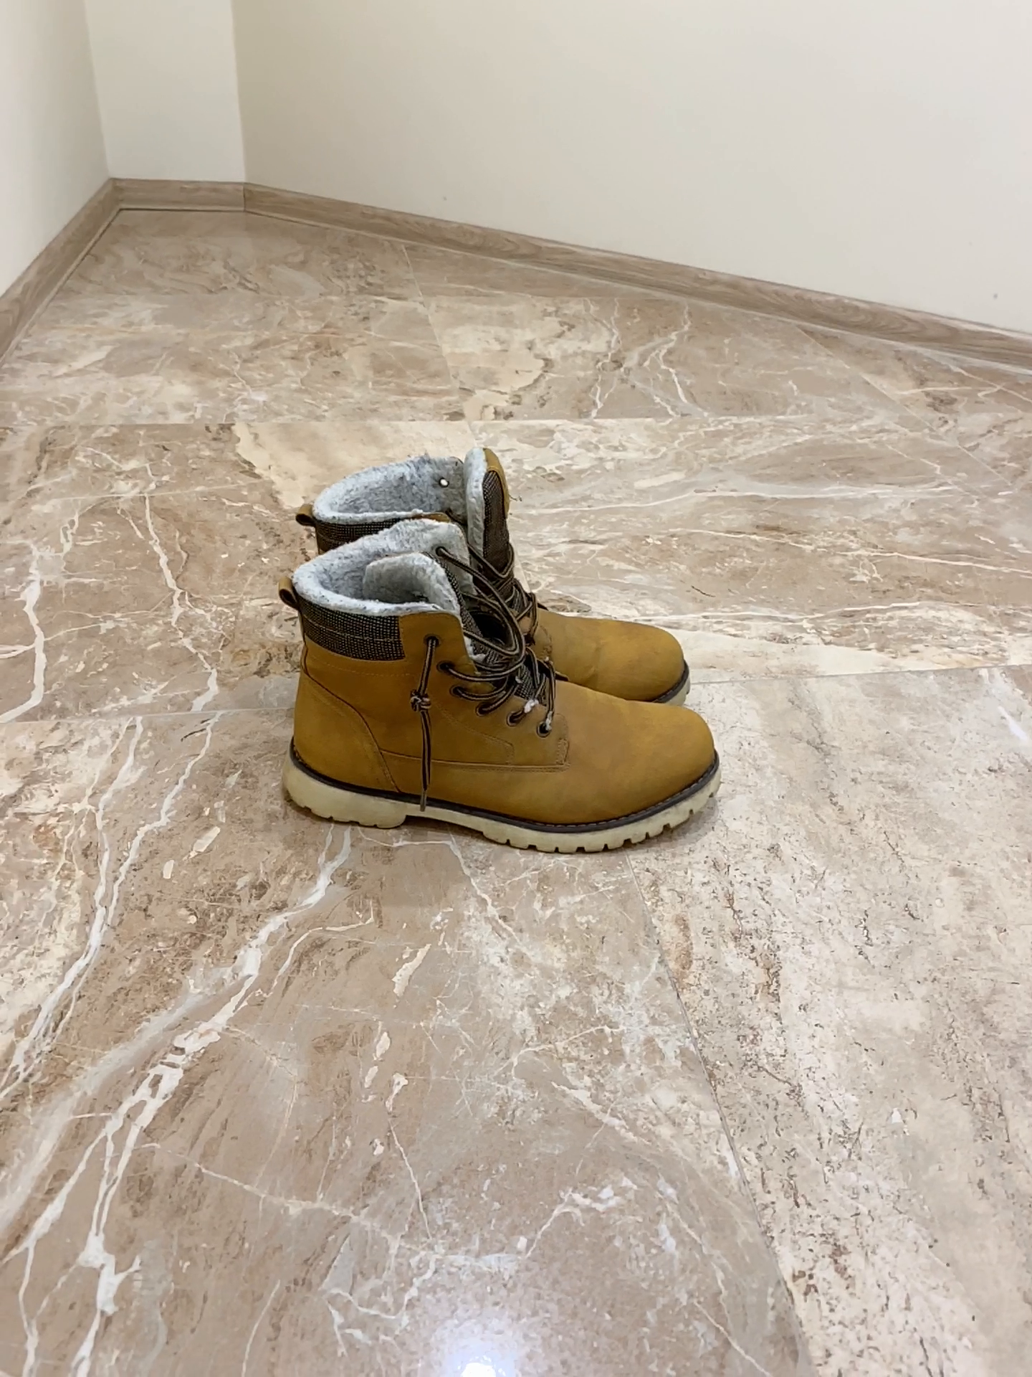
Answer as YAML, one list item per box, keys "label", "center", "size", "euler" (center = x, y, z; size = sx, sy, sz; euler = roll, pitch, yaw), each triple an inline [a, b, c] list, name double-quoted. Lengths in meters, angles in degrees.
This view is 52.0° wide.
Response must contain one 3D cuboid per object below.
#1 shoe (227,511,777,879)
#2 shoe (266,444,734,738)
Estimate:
- label: "shoe"
  center: [-0.009, 0.002, 0.631]
  size: [0.280, 0.159, 0.121]
  euler: [4, 33, 1]
- label: "shoe"
  center: [-0.010, -0.068, 0.719]
  size: [0.280, 0.139, 0.121]
  euler: [4, 33, 1]
